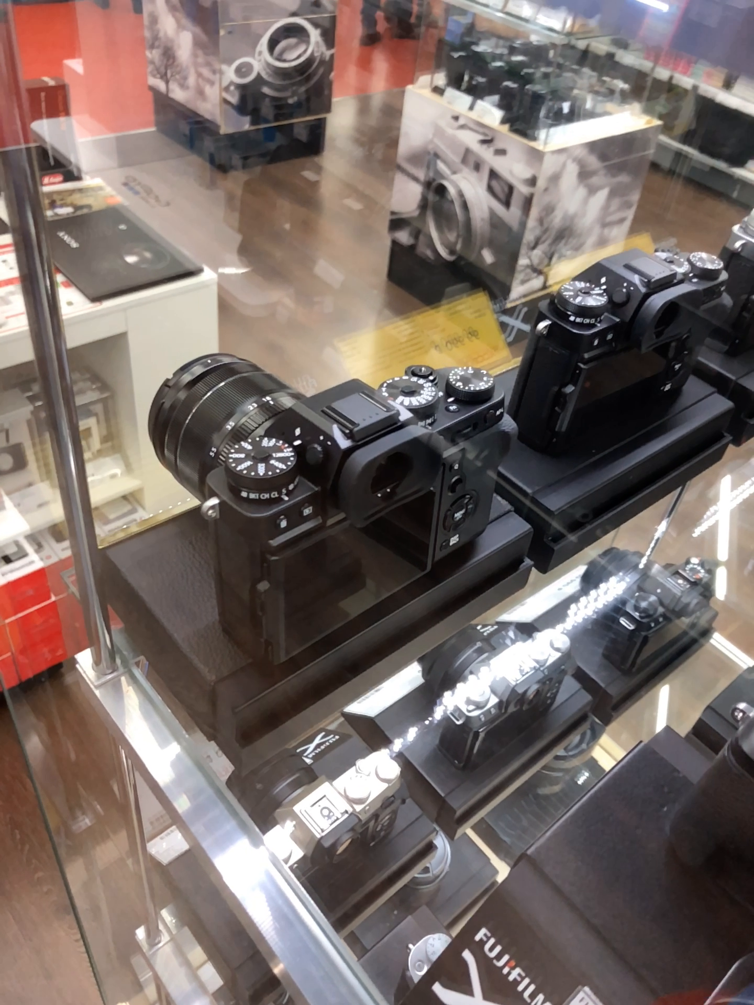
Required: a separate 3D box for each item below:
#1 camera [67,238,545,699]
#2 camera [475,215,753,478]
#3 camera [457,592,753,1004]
[{"bbox_3d":[-0.030,-0.023,0.339,0.129,0.099,0.120,-28,54,-34],"label":"camera"},{"bbox_3d":[0.127,-0.087,0.445,0.125,0.088,0.066,-26,53,-33],"label":"camera"},{"bbox_3d":[0.113,0.116,0.219,0.115,0.088,0.125,-25,52,-32],"label":"camera"}]
